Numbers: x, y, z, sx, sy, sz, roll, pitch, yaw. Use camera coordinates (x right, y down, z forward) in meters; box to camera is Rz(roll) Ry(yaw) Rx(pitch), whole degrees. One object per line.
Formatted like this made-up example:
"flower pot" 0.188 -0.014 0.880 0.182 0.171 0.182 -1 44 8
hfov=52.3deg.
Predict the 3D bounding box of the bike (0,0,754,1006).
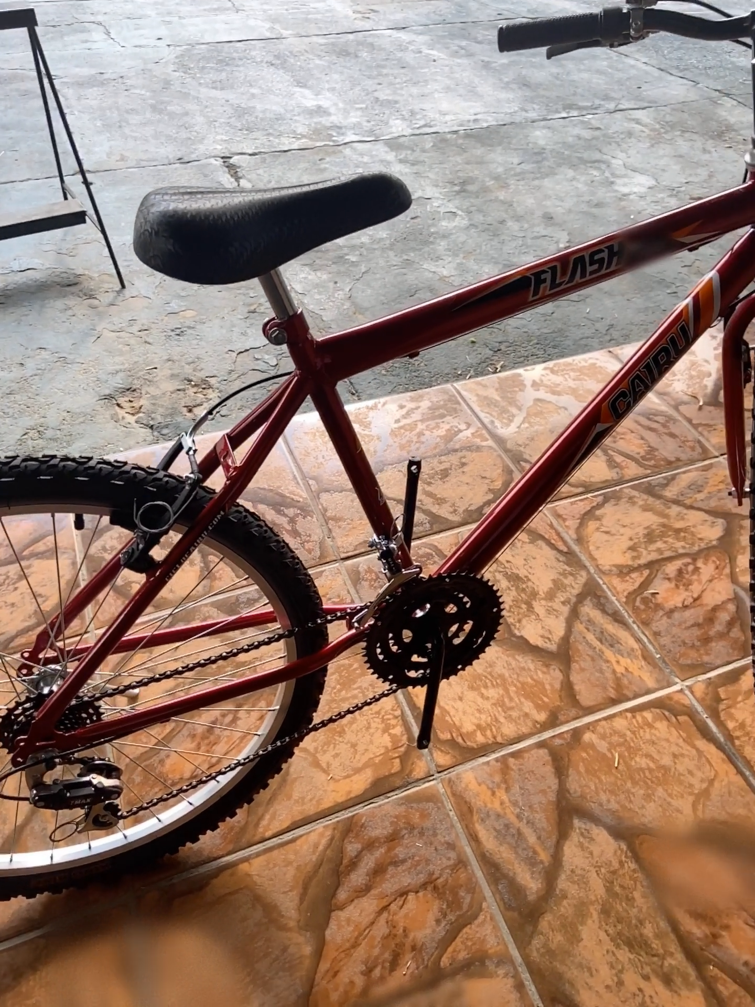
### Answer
"bike" -0.004 -0.115 1.013 1.559 0.985 0.601 -19 49 -22
